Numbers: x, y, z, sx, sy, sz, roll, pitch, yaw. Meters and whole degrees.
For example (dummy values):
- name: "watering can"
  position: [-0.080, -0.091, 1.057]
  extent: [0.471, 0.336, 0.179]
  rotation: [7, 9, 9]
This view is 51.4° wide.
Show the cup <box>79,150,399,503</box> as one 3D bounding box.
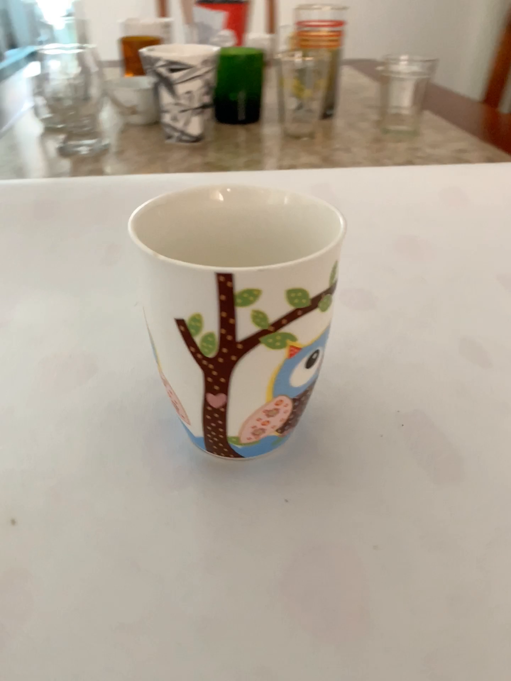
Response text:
- name: "cup"
  position: [0.000, -0.015, 0.238]
  extent: [0.080, 0.099, 0.110]
  rotation: [19, 39, 25]
